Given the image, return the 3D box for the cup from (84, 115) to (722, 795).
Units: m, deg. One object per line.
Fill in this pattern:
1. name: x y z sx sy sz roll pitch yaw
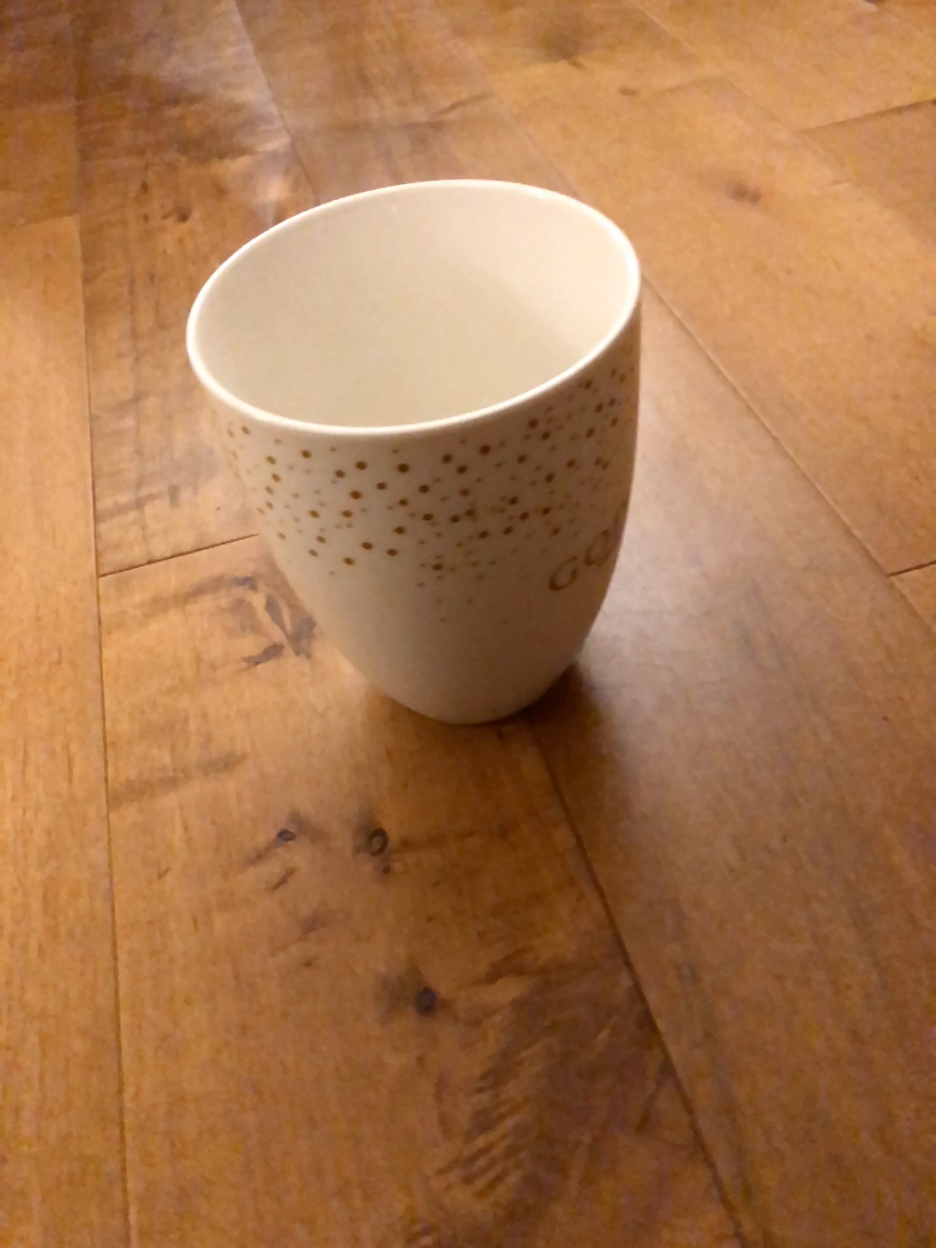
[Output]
1. cup: -0.001 -0.053 0.285 0.110 0.109 0.141 10 50 17
